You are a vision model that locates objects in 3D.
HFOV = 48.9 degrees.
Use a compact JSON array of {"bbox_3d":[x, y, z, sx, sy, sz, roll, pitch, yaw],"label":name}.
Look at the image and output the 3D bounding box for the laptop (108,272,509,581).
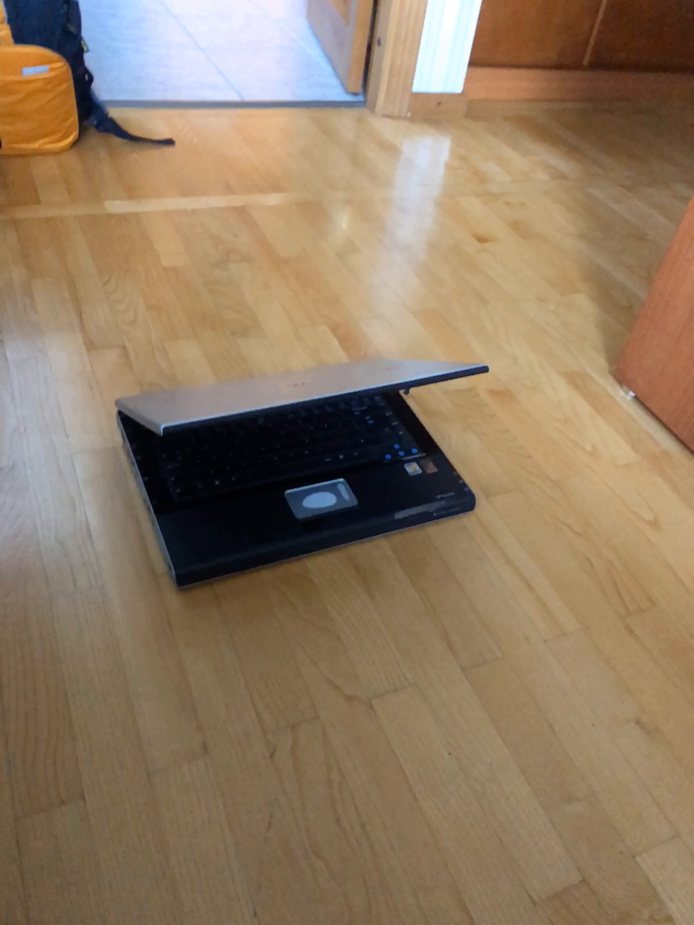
[{"bbox_3d":[-0.054,-0.062,0.871,0.363,0.147,0.269,-12,48,-24],"label":"laptop"}]
